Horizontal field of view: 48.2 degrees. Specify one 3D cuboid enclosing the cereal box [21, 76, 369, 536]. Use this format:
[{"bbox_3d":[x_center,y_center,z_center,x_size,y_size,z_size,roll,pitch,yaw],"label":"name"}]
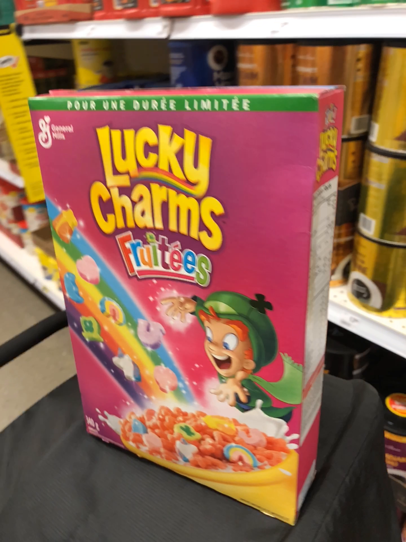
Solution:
[{"bbox_3d":[-0.009,0.023,0.329,0.200,0.299,0.060,12,28,26],"label":"cereal box"}]
